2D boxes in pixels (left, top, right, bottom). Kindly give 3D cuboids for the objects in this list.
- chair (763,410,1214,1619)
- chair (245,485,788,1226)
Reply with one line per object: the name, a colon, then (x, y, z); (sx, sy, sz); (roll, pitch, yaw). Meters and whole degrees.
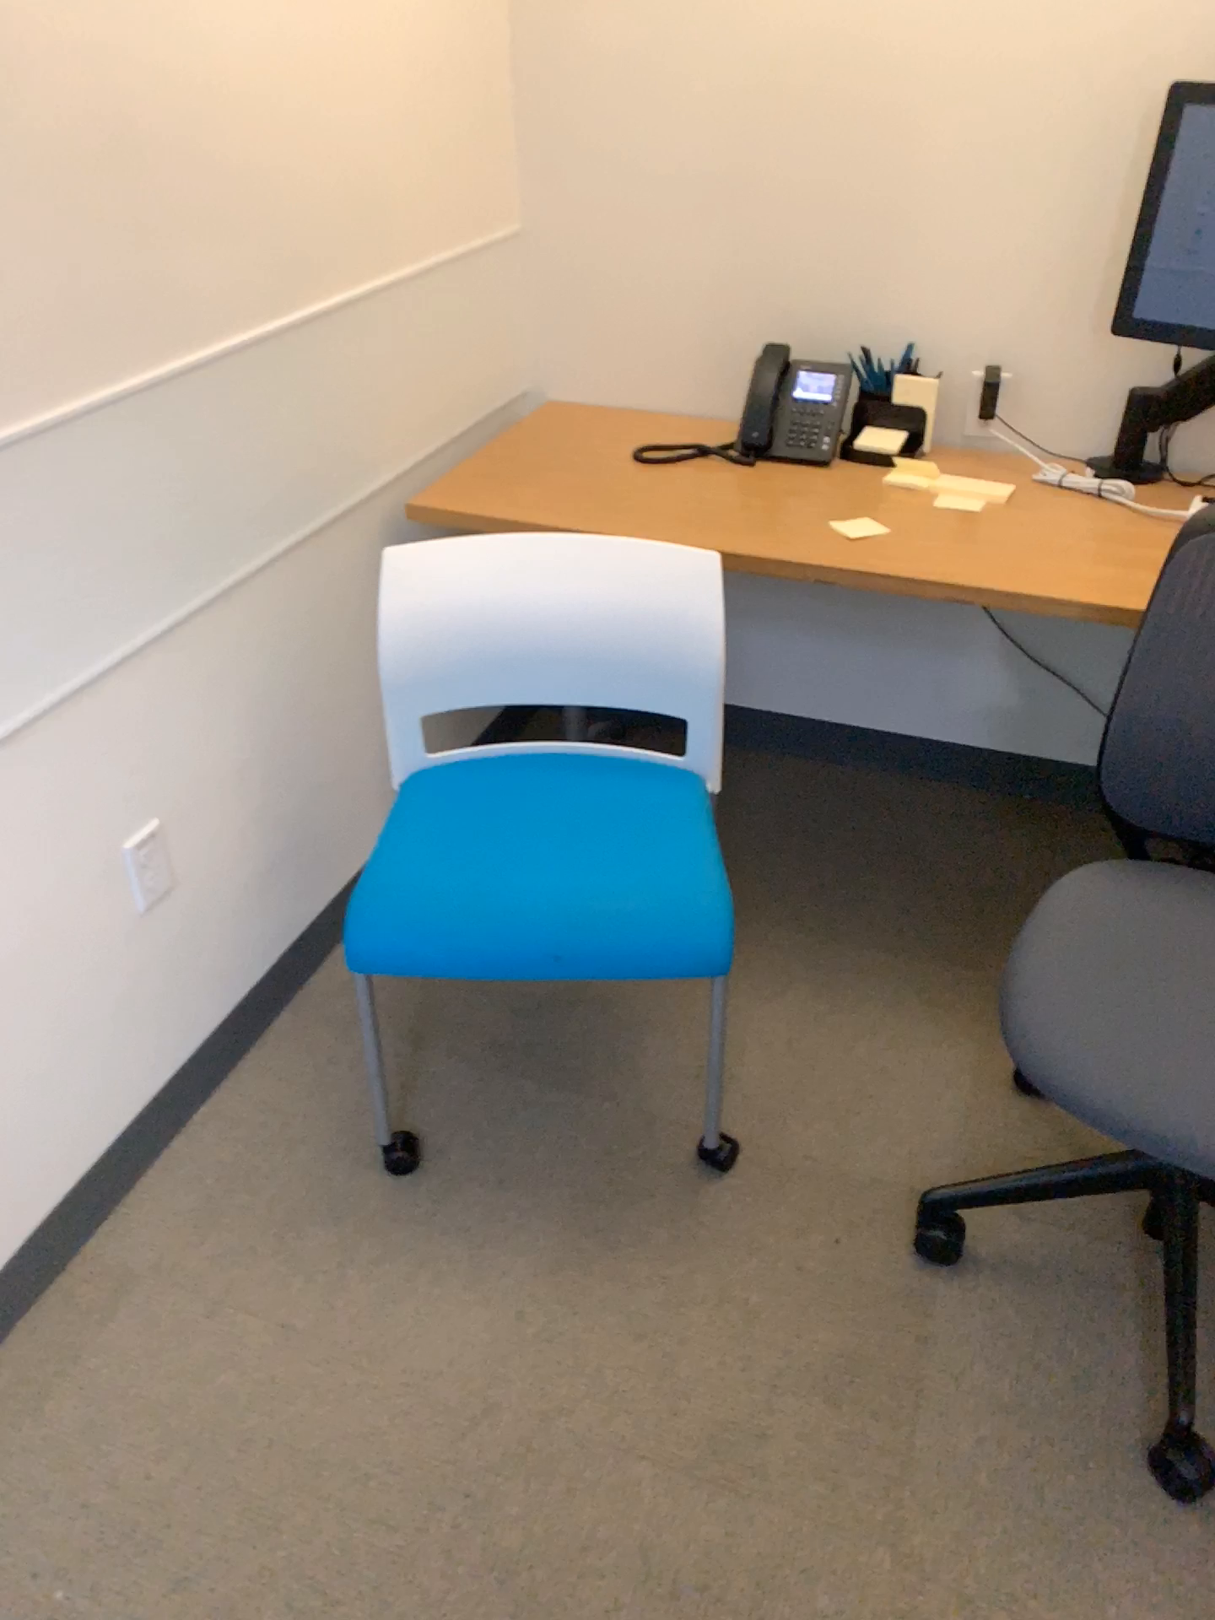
chair: (0.788, 0.130, 1.510); (0.752, 0.885, 0.973); (21, 39, 28)
chair: (-0.077, 0.019, 1.709); (0.530, 0.686, 0.795); (1, 34, 2)
